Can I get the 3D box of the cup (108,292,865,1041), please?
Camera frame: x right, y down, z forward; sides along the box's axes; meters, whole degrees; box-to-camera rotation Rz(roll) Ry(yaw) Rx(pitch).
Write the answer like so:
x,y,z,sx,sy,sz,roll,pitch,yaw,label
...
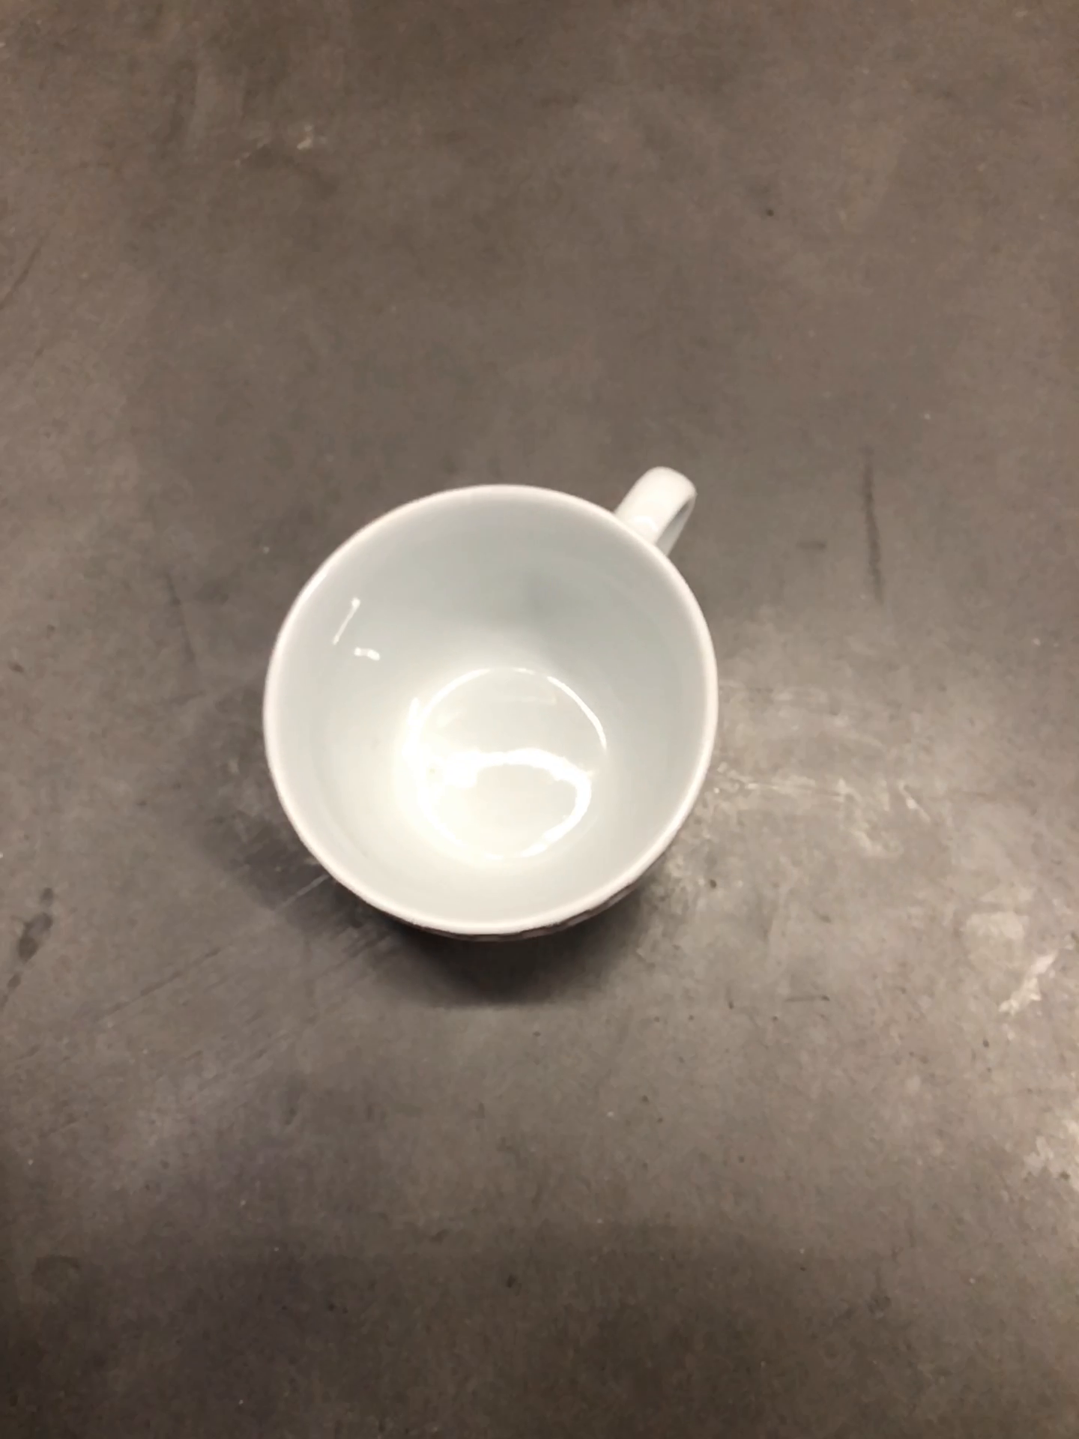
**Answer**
x,y,z,sx,sy,sz,roll,pitch,yaw,label
-0.007,-0.008,0.246,0.088,0.058,0.111,34,79,11,cup
